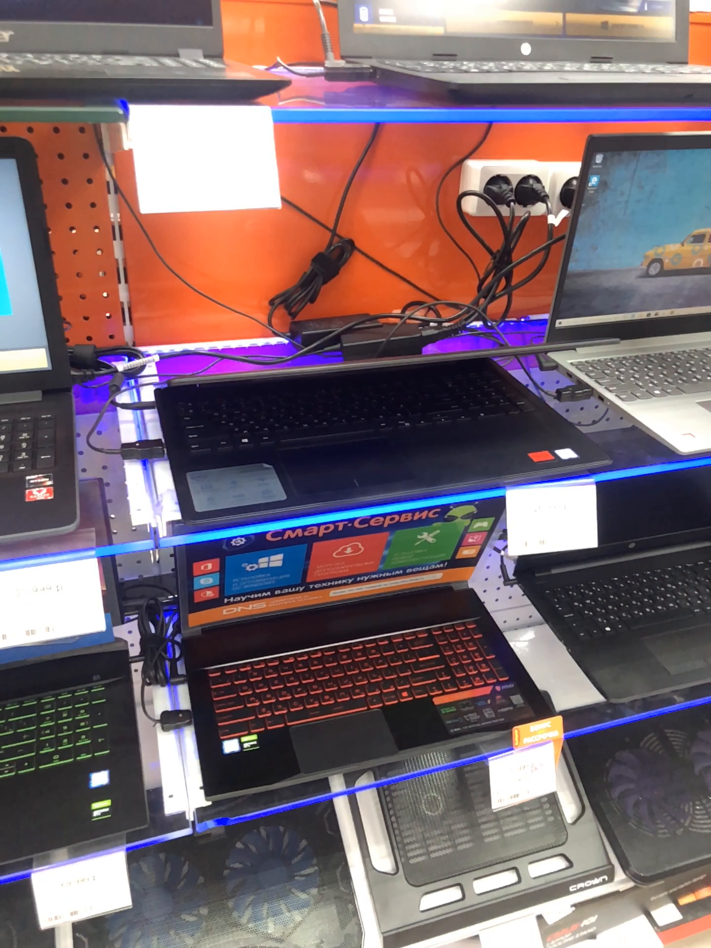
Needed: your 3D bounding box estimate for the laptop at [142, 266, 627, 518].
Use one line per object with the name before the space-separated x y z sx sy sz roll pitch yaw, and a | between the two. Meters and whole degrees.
laptop | 0.009 -0.094 0.706 0.371 0.100 0.239 -8 31 -15
